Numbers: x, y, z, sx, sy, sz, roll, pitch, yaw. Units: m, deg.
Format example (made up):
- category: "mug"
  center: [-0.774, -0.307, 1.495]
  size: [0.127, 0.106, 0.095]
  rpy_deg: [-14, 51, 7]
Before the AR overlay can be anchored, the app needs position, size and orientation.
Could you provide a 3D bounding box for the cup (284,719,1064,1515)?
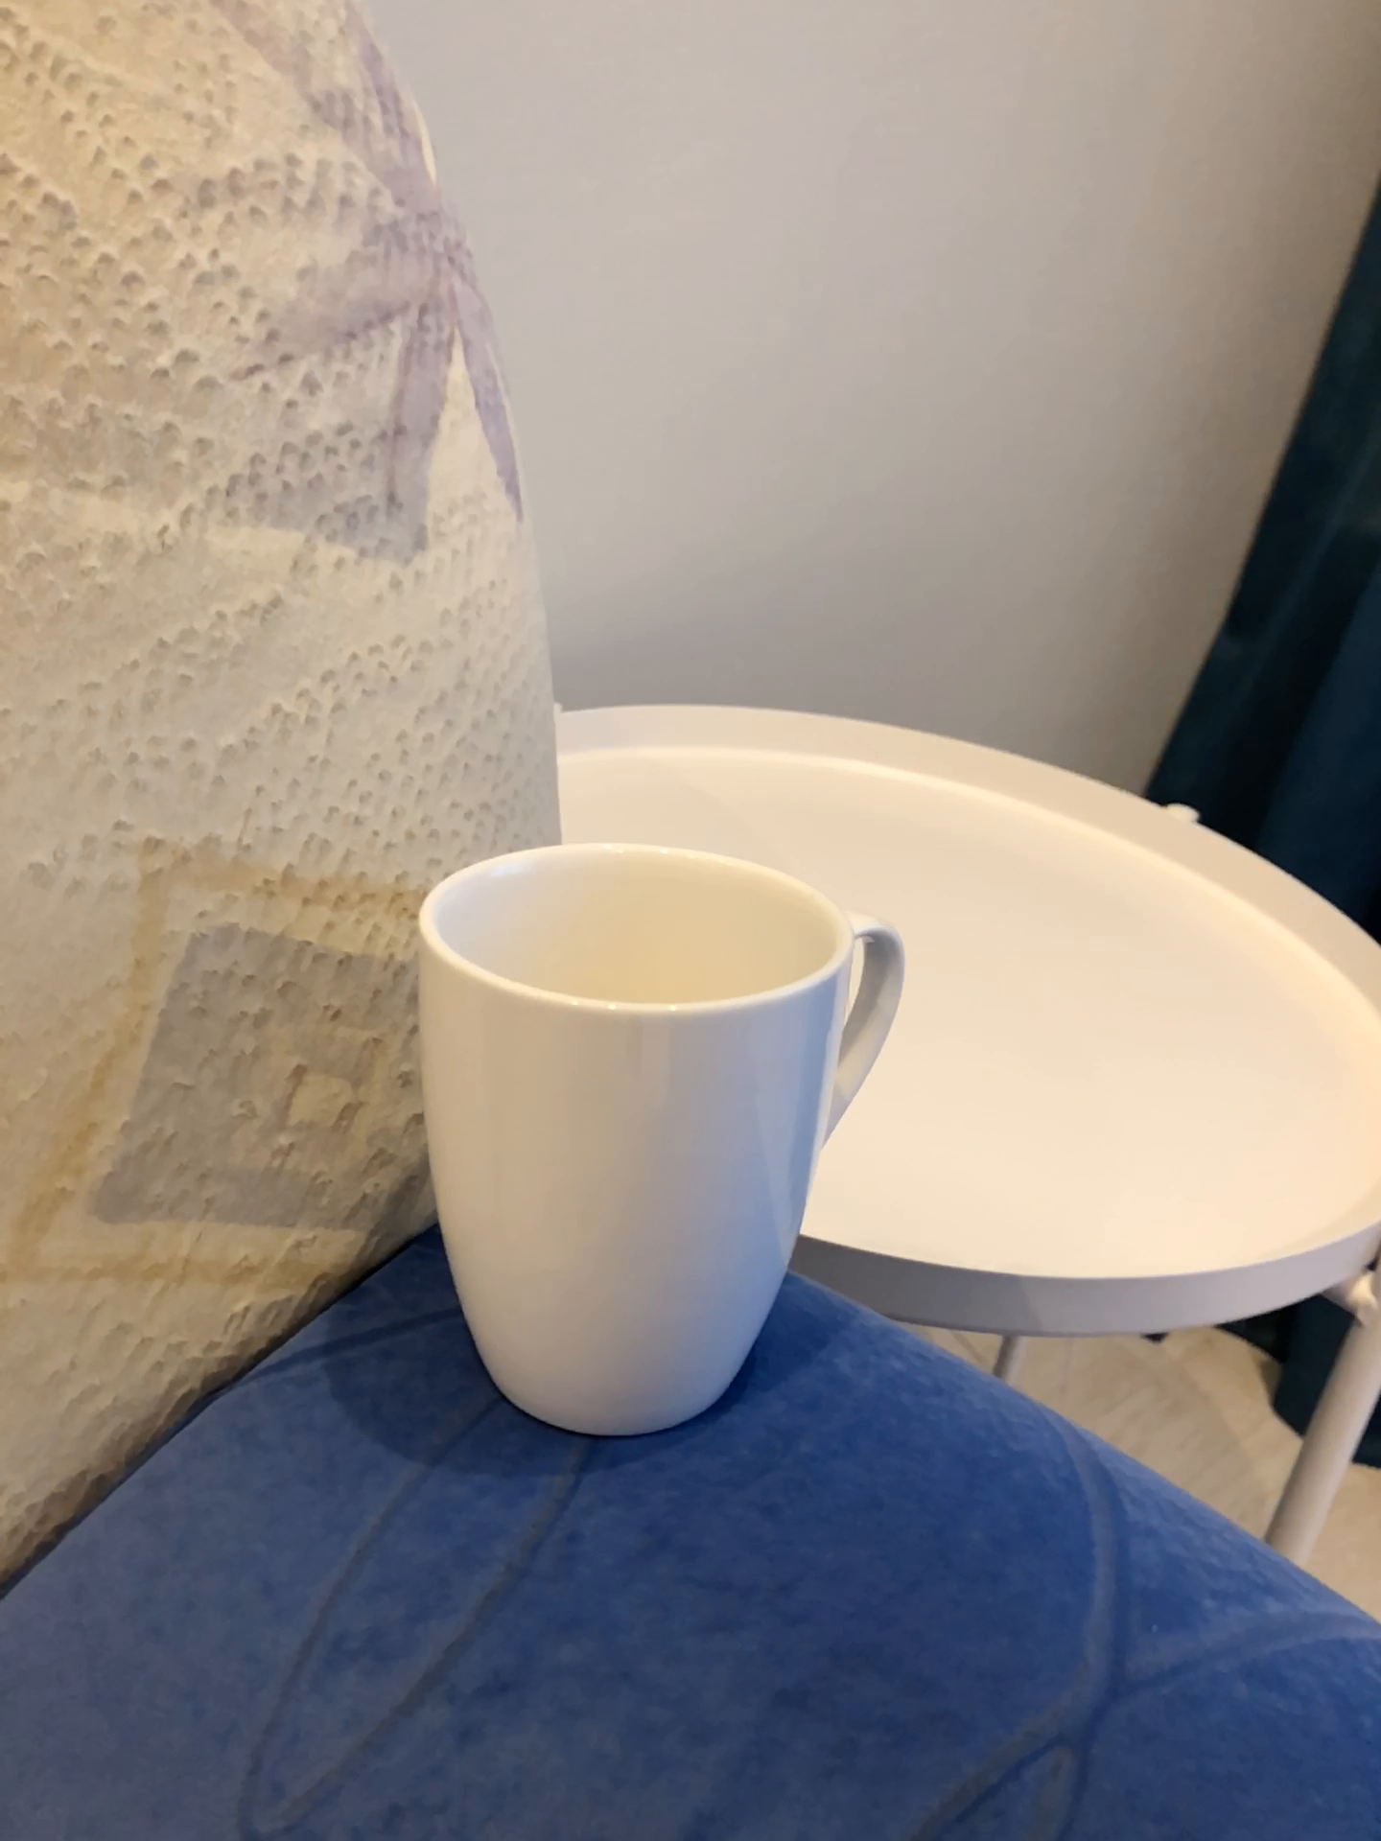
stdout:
- category: "cup"
  center: [-0.002, 0.023, 0.272]
  size: [0.080, 0.079, 0.111]
  rpy_deg: [24, 30, 31]
